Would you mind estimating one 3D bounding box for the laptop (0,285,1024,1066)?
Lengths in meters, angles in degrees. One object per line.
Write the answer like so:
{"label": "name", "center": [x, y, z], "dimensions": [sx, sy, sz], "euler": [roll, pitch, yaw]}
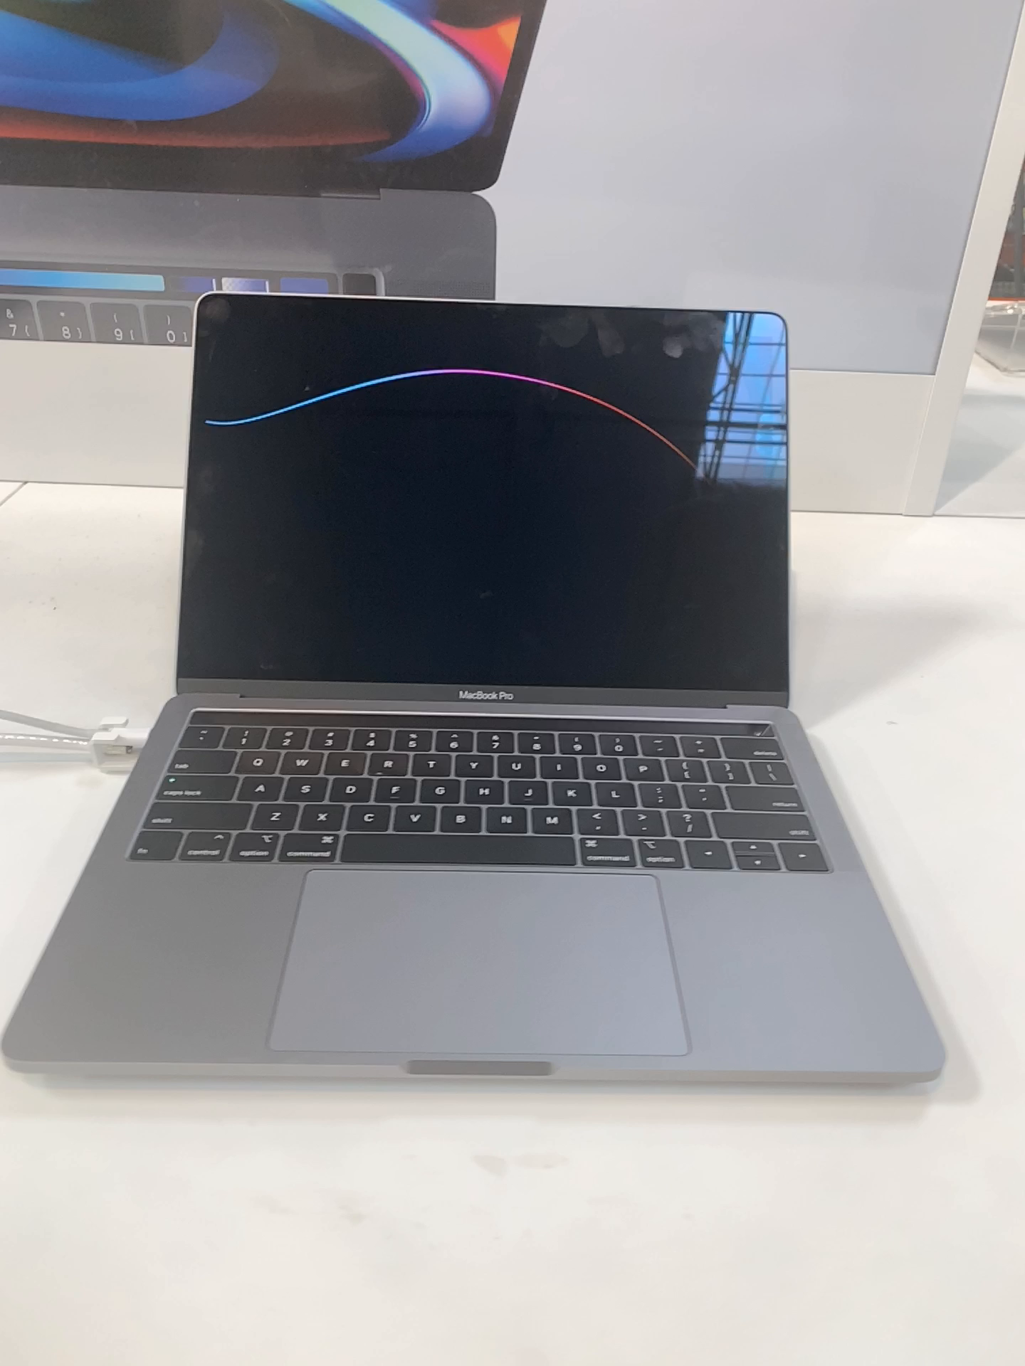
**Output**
{"label": "laptop", "center": [-0.021, -0.036, 0.413], "dimensions": [0.284, 0.150, 0.316], "euler": [1, 33, -2]}
